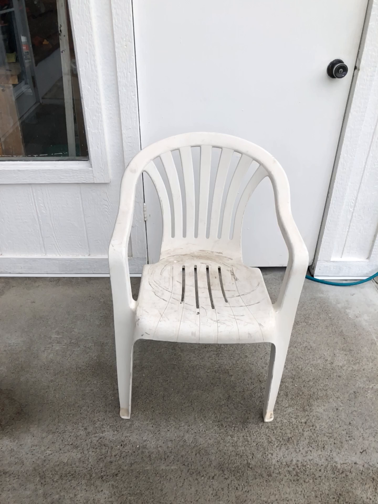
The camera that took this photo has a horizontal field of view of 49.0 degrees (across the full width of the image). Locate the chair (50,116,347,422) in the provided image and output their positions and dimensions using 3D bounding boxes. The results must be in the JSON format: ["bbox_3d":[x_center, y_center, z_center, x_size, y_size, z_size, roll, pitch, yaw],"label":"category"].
[{"bbox_3d":[0.015,0.052,1.265,0.600,0.777,0.512,0,33,-1],"label":"chair"}]
